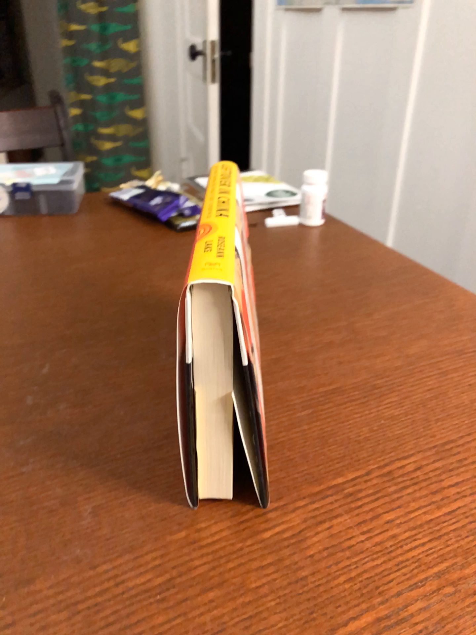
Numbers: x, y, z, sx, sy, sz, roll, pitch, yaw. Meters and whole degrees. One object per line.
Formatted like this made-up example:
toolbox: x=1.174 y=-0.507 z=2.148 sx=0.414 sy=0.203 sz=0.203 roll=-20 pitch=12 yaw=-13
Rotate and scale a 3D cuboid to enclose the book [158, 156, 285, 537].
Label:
book: x=-0.006 y=-0.003 z=0.407 sx=0.060 sy=0.179 sz=0.262 roll=1 pitch=29 yaw=1
